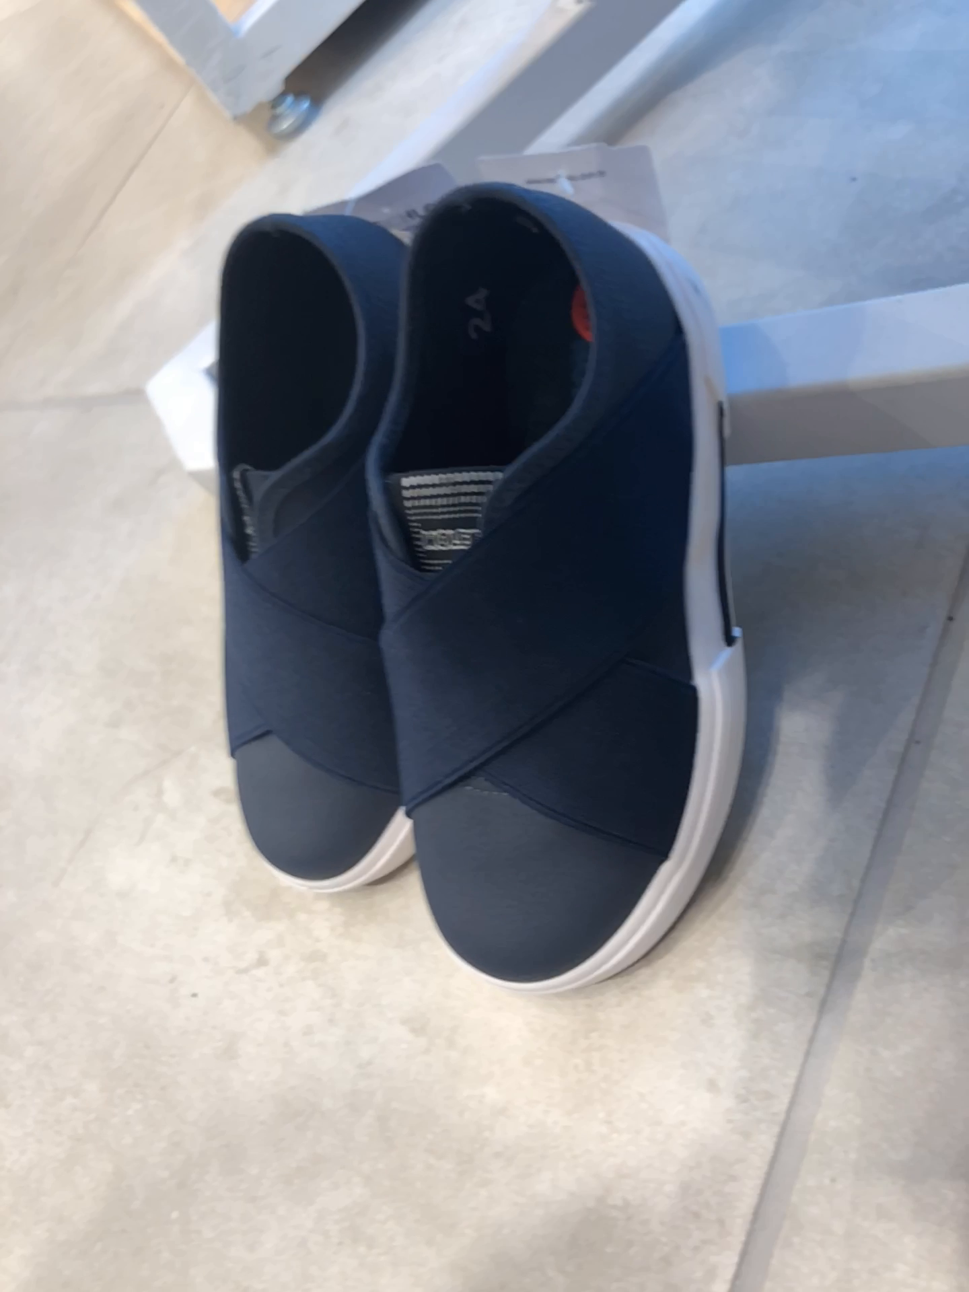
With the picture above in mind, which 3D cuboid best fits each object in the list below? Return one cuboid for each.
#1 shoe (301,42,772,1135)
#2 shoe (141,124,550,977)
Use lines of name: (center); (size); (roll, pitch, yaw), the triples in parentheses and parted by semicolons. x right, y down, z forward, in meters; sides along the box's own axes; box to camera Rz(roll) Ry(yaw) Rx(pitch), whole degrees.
shoe: (0.012, -0.010, 0.229); (0.070, 0.070, 0.180); (1, 92, 38)
shoe: (-0.035, -0.022, 0.279); (0.070, 0.070, 0.180); (4, 94, 34)
